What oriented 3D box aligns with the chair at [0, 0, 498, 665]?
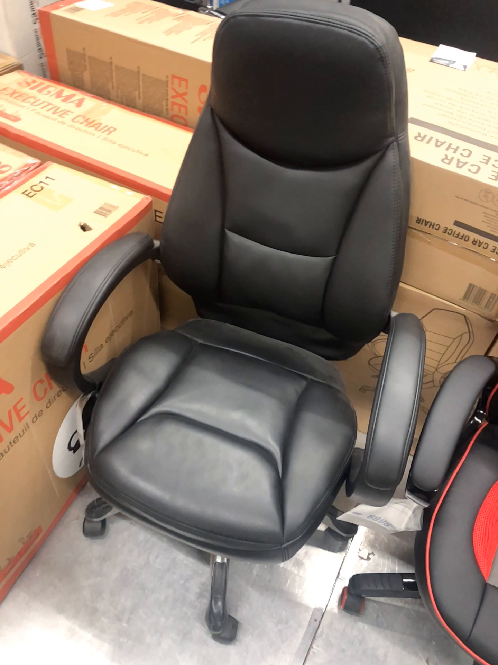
[{"bbox_3d":[0.001,0.051,1.083,0.720,1.063,0.745,17,48,9],"label":"chair"}]
